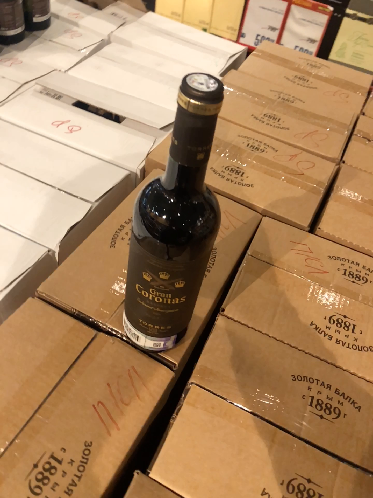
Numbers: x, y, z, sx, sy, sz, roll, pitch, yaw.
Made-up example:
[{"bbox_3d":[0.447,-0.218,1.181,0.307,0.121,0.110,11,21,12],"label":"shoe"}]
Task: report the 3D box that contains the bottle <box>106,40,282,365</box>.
[{"bbox_3d":[-0.008,-0.013,0.362,0.090,0.278,0.091,5,49,-6],"label":"bottle"}]
